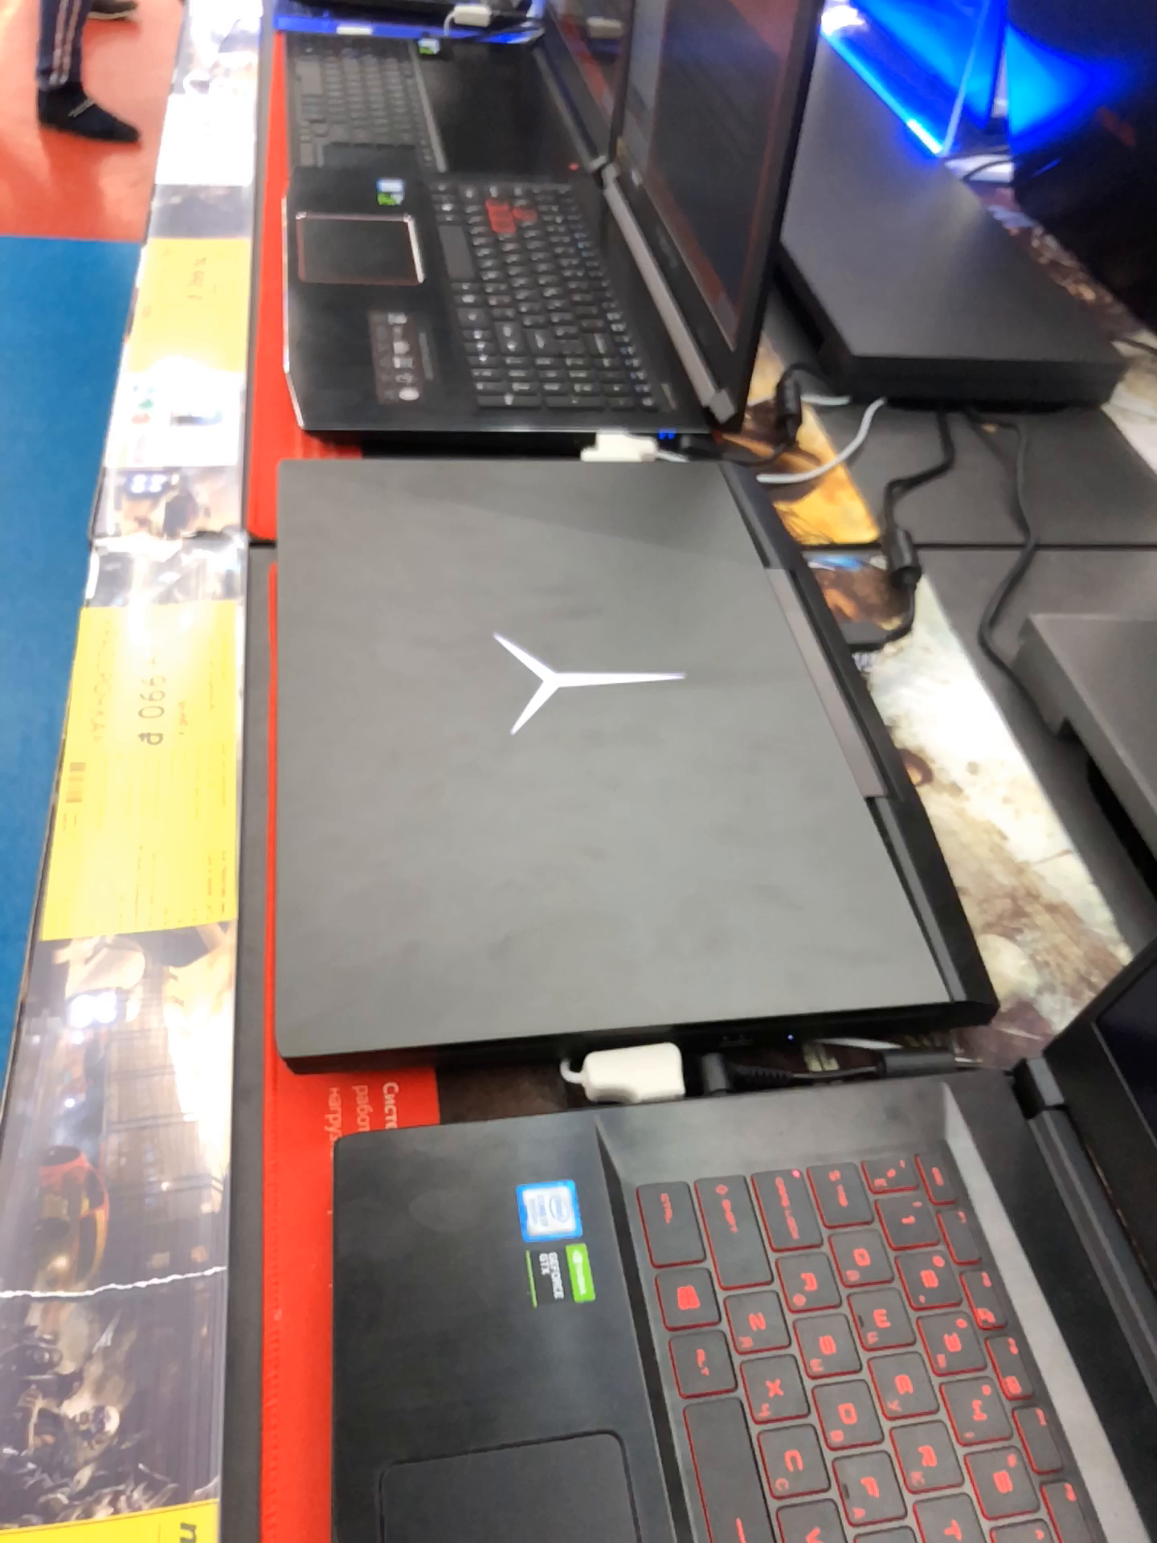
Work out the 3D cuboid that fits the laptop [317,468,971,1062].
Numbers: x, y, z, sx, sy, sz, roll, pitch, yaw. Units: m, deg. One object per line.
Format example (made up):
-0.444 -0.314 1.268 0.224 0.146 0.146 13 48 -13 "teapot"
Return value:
0.003 -0.035 0.566 0.227 0.007 0.345 -3 45 -10 "laptop"
